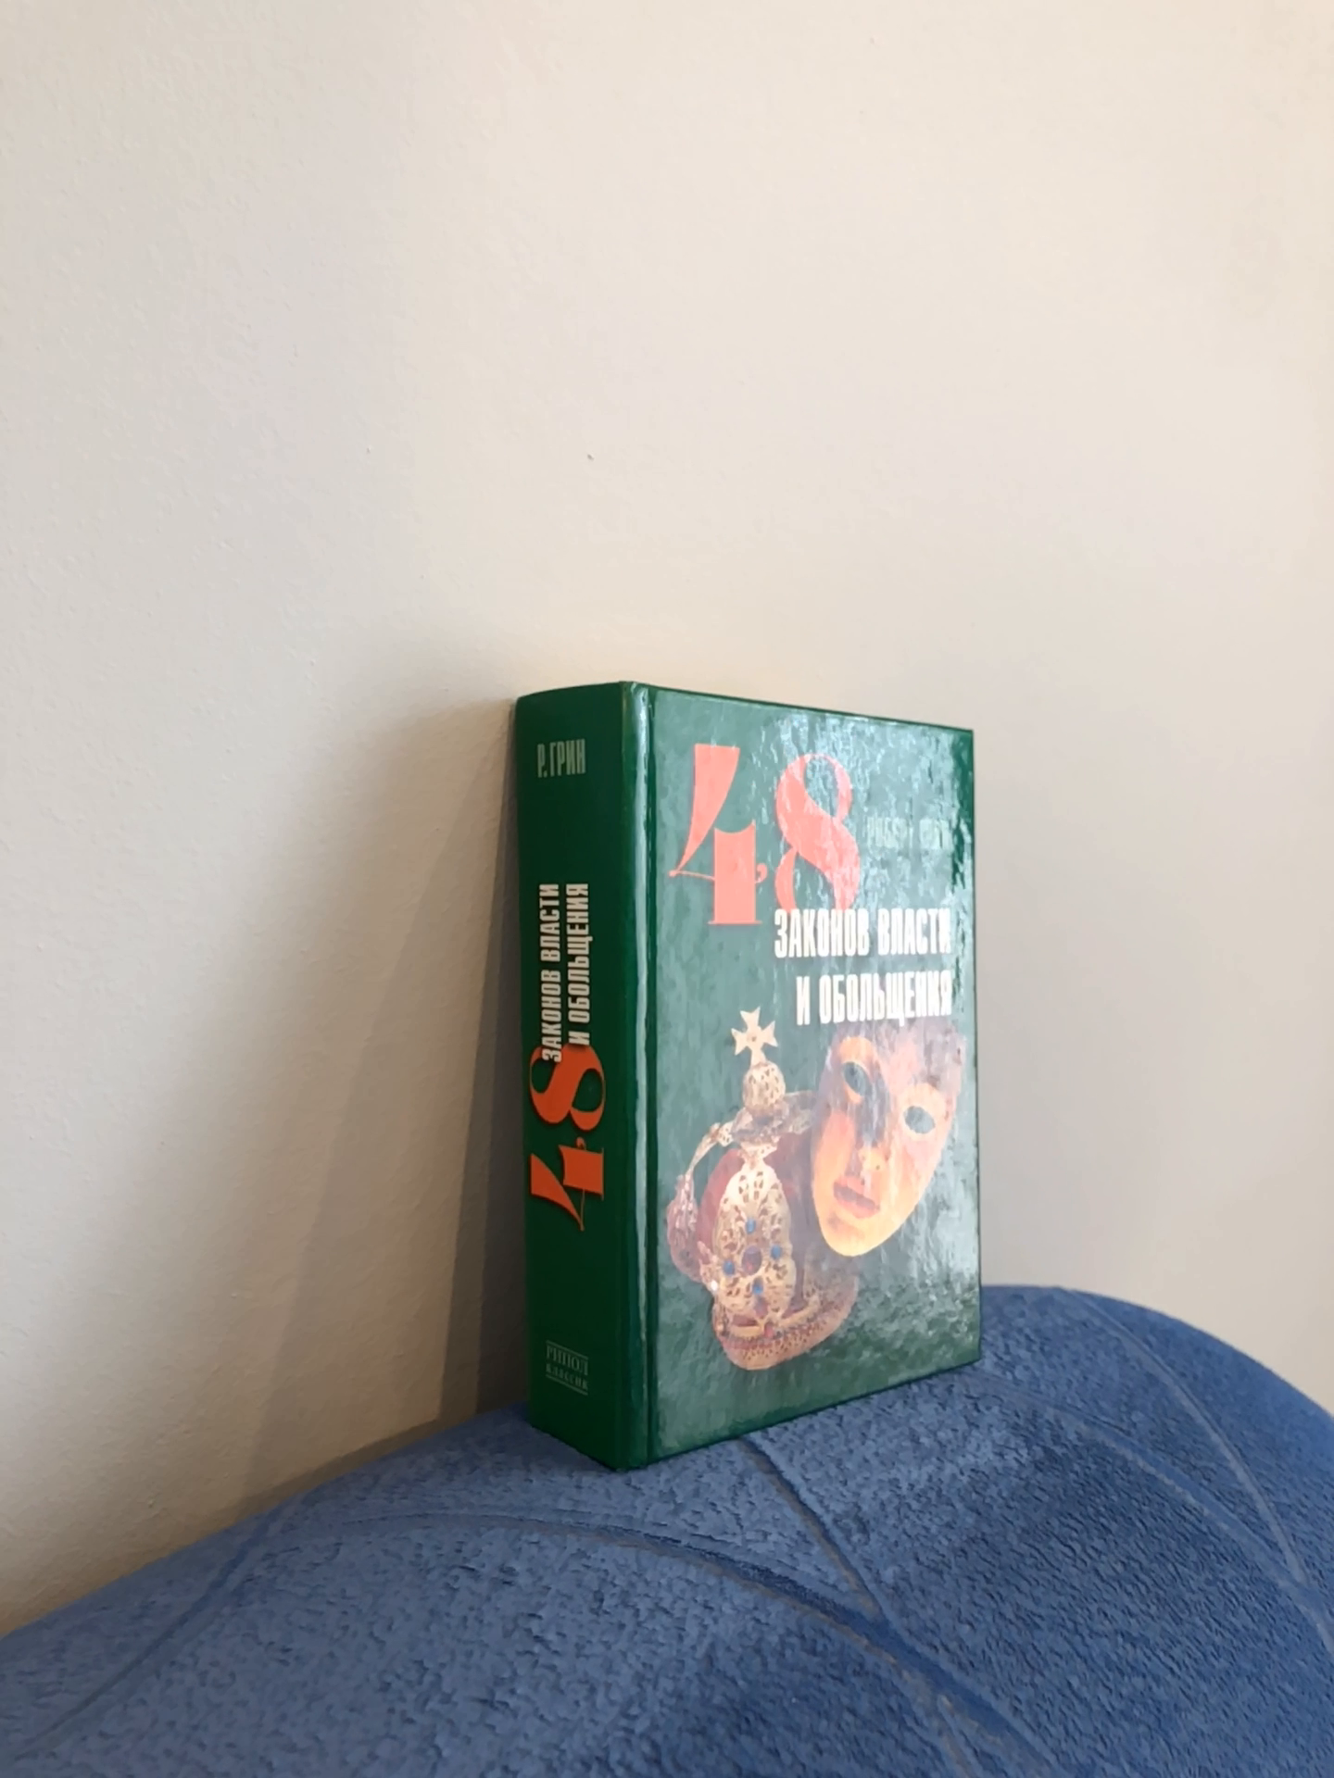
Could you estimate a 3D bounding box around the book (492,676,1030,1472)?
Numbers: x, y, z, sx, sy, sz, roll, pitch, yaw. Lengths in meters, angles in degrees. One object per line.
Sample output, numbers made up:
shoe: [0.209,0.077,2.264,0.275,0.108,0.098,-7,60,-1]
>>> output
book: [0.022,0.032,0.315,0.107,0.141,0.050,0,0,-37]
